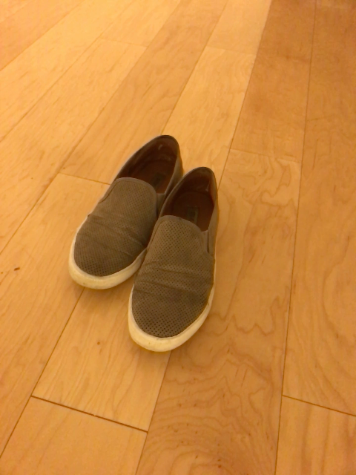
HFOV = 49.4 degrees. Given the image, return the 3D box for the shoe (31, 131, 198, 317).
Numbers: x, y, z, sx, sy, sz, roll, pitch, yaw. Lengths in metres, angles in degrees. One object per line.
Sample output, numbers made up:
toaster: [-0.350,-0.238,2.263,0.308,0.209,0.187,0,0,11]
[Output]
shoe: [-0.072,-0.037,0.550,0.110,0.060,0.282,18,51,11]

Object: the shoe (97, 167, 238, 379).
shoe: [0.001,0.025,0.504,0.110,0.050,0.282,12,50,6]
